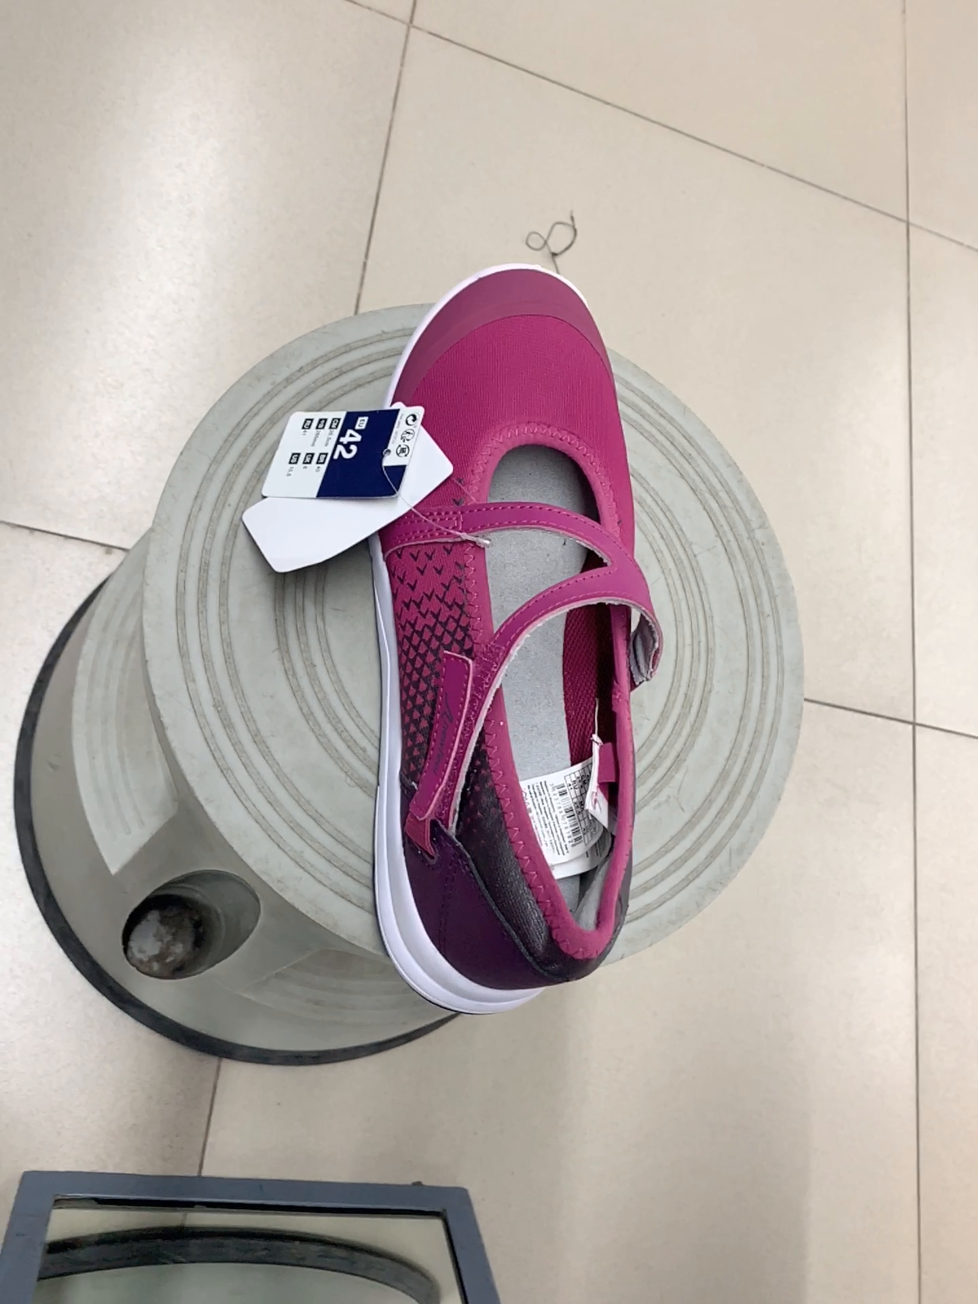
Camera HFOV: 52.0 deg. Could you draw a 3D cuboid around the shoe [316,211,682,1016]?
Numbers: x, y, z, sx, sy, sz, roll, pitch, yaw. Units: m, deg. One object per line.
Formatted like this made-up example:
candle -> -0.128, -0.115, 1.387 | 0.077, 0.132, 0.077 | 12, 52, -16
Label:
shoe -> 0.001, -0.012, 0.357 | 0.100, 0.070, 0.260 | 5, 74, -19
